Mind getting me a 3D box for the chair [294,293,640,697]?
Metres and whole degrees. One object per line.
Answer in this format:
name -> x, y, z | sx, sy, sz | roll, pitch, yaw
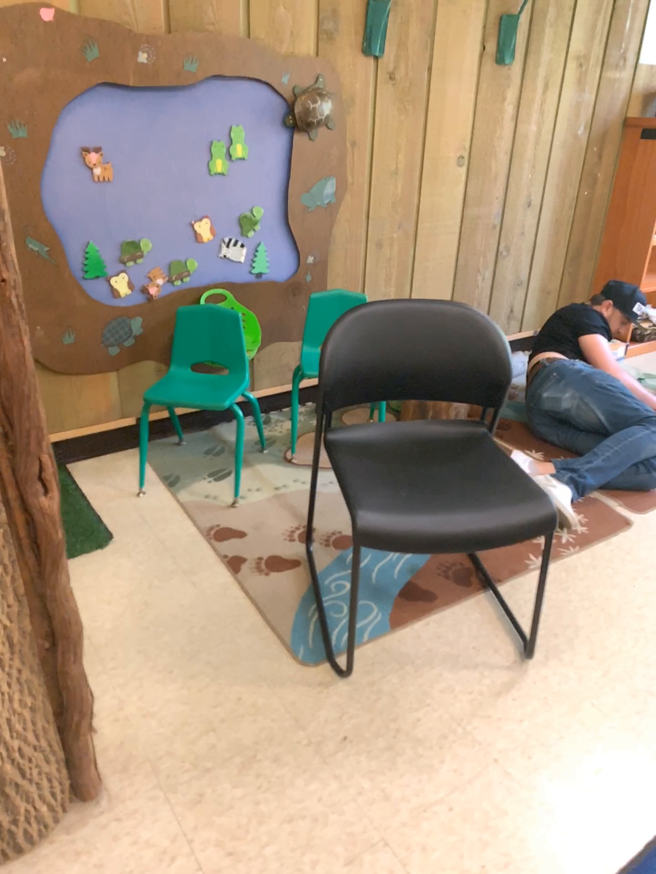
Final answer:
chair -> 0.249, 0.104, 1.649 | 0.590, 0.785, 0.573 | -2, 26, -10
